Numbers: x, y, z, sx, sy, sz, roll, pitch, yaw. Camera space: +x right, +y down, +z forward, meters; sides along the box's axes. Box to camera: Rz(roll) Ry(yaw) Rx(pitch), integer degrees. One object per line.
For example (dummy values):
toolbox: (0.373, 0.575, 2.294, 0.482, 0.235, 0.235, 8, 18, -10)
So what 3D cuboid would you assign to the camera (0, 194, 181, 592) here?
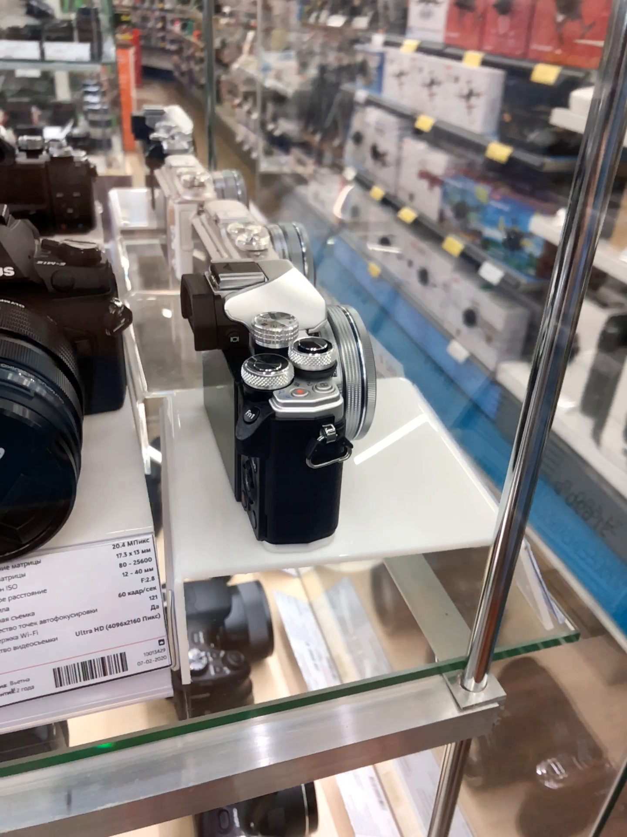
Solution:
camera: (-0.112, -0.023, 0.266, 0.102, 0.087, 0.137, -6, 32, -16)

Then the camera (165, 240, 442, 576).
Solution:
camera: (-0.013, -0.014, 0.283, 0.071, 0.080, 0.121, -7, 32, -17)

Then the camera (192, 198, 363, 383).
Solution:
camera: (-0.028, -0.084, 0.424, 0.065, 0.062, 0.140, -7, 32, -17)
